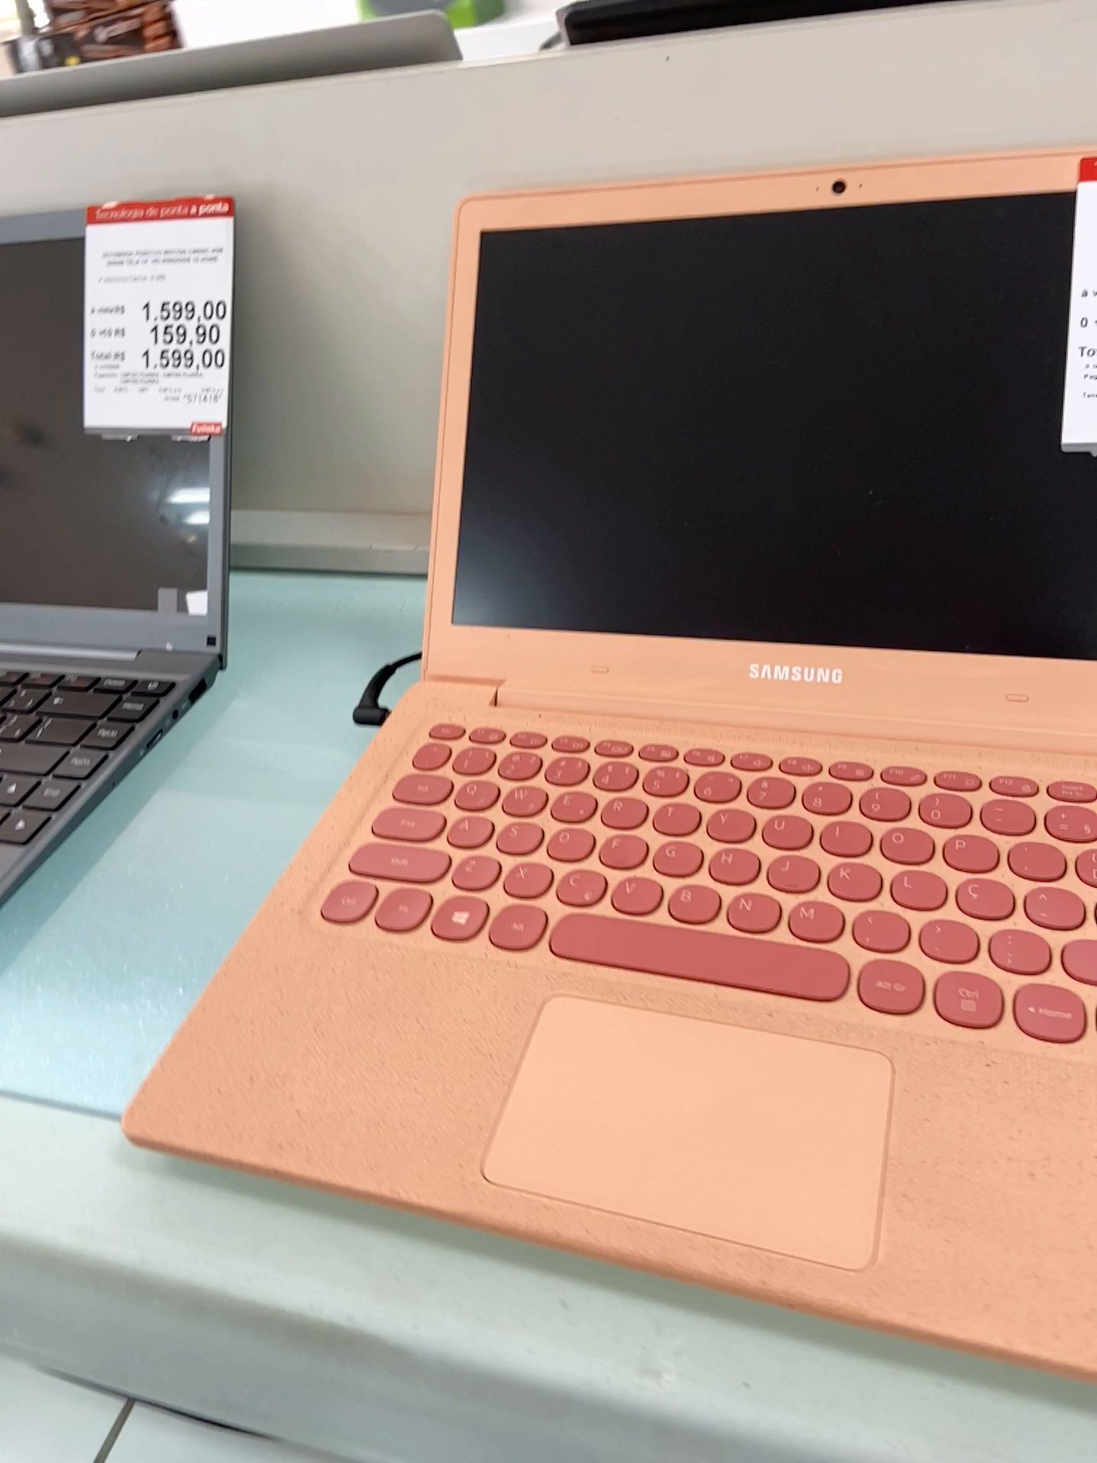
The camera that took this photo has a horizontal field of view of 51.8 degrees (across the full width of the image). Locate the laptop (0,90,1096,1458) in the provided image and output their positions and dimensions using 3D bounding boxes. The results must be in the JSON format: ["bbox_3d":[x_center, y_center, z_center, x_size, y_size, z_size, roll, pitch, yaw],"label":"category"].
[{"bbox_3d":[0.072,-0.048,0.355,0.329,0.160,0.360,5,41,20],"label":"laptop"}]
